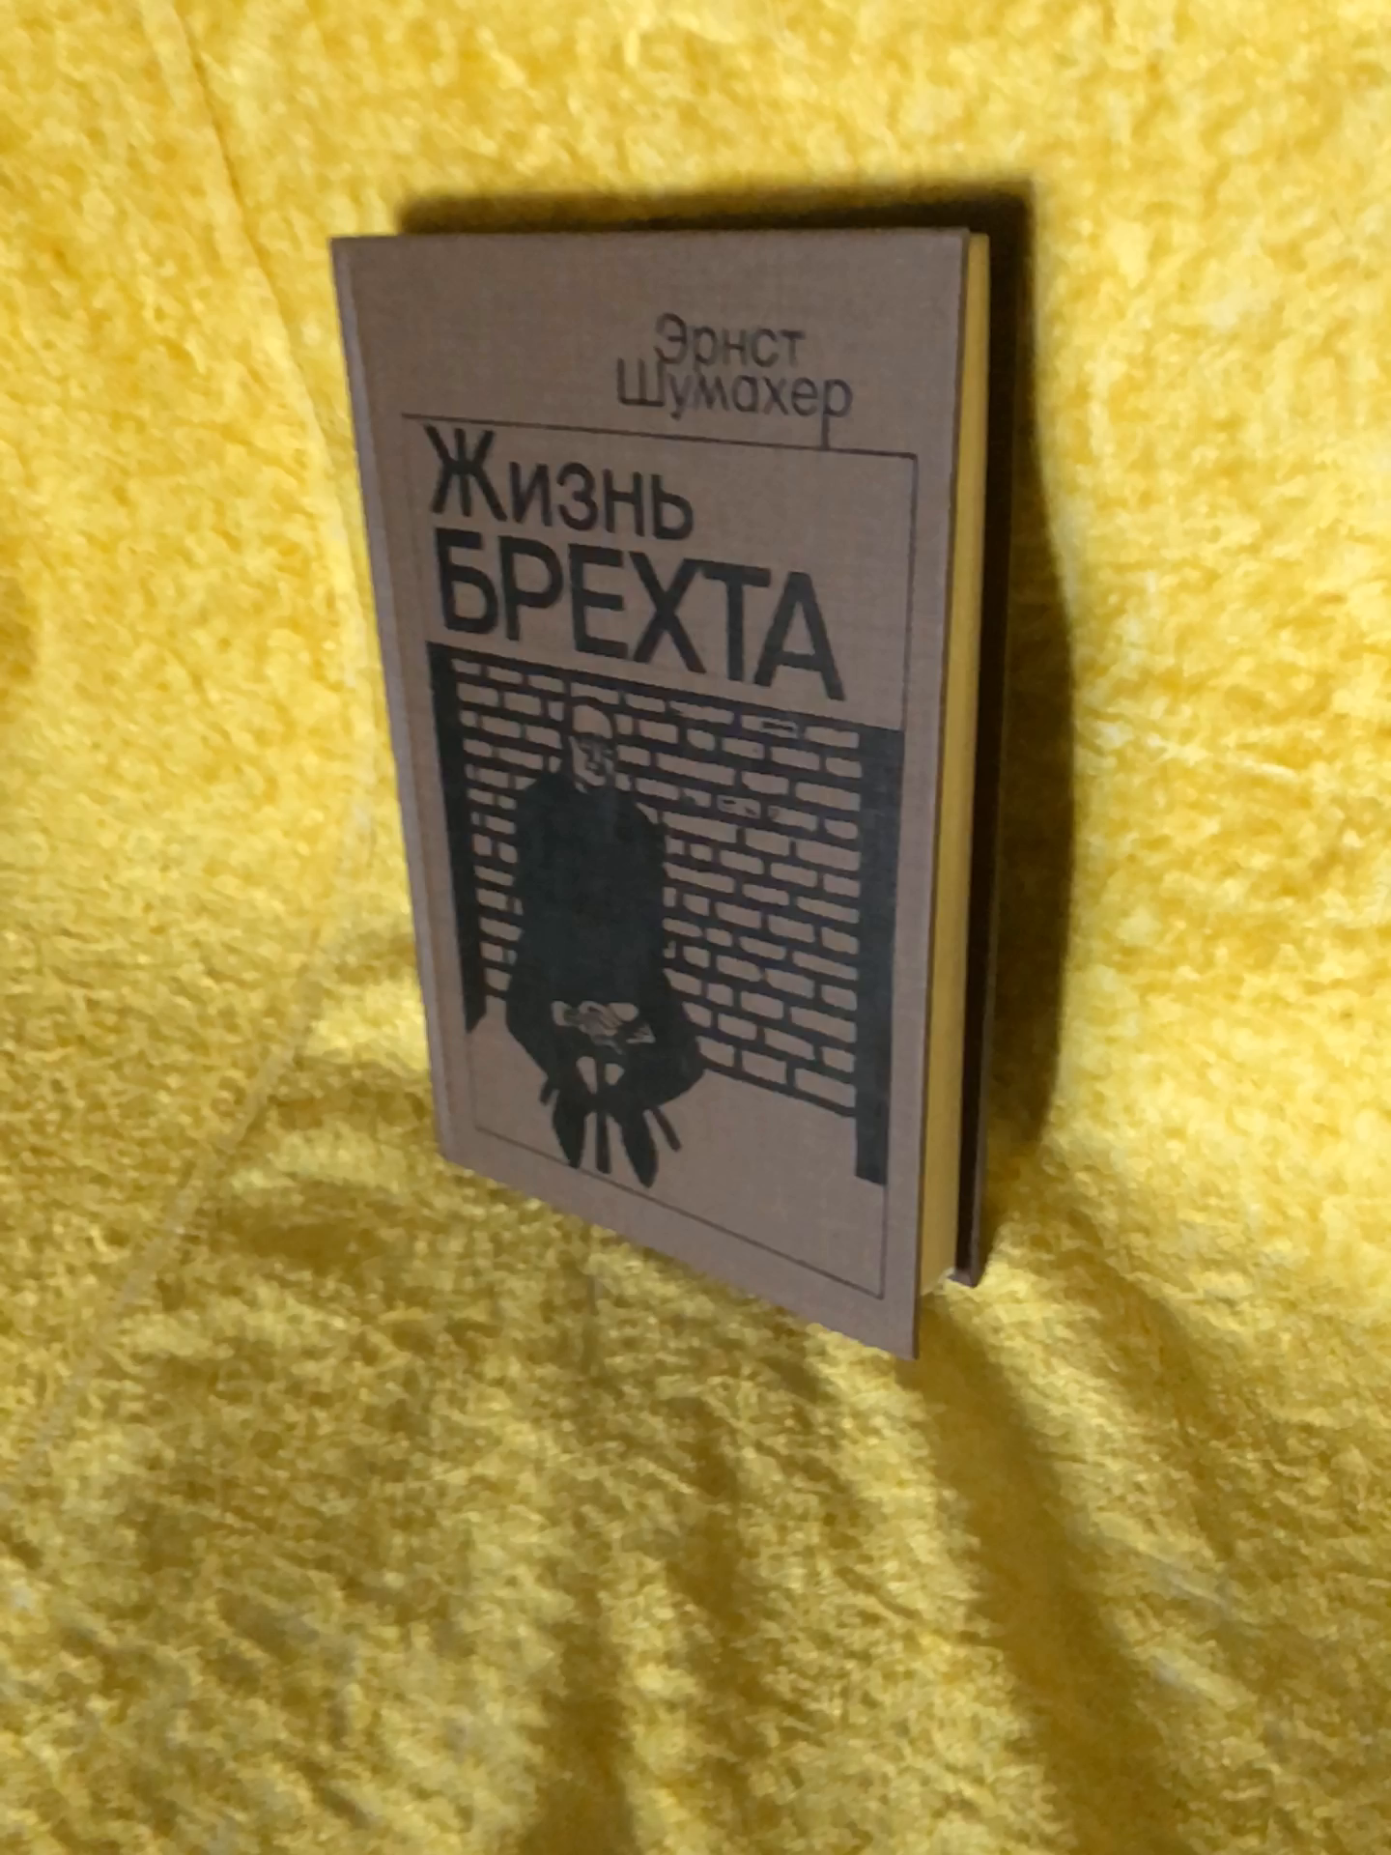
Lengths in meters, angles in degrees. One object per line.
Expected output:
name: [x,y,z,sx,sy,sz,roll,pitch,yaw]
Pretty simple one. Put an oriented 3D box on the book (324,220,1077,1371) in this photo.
book: [-0.003,-0.027,0.300,0.130,0.199,0.033,16,30,32]
